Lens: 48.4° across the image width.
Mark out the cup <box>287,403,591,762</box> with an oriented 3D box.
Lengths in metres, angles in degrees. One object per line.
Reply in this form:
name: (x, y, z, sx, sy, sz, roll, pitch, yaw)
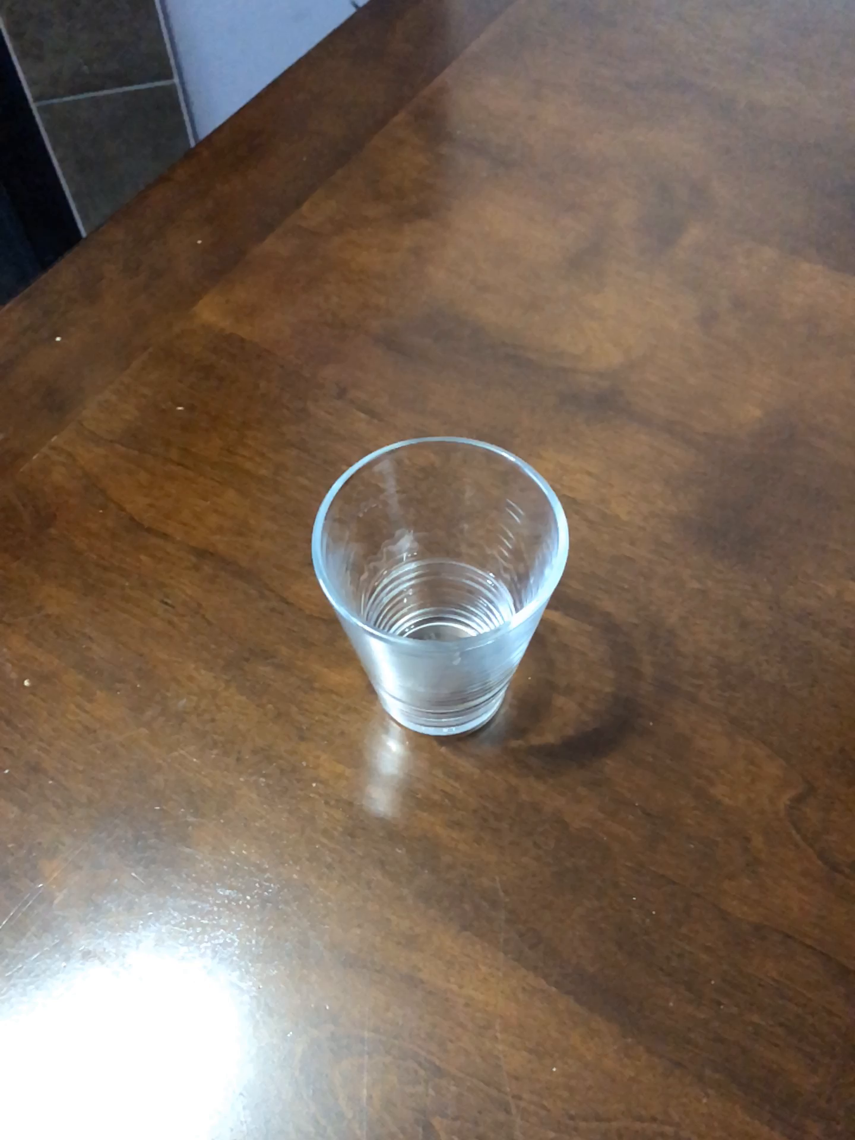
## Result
cup: (0.002, 0.008, 0.331, 0.080, 0.100, 0.070, -10, 58, -5)
